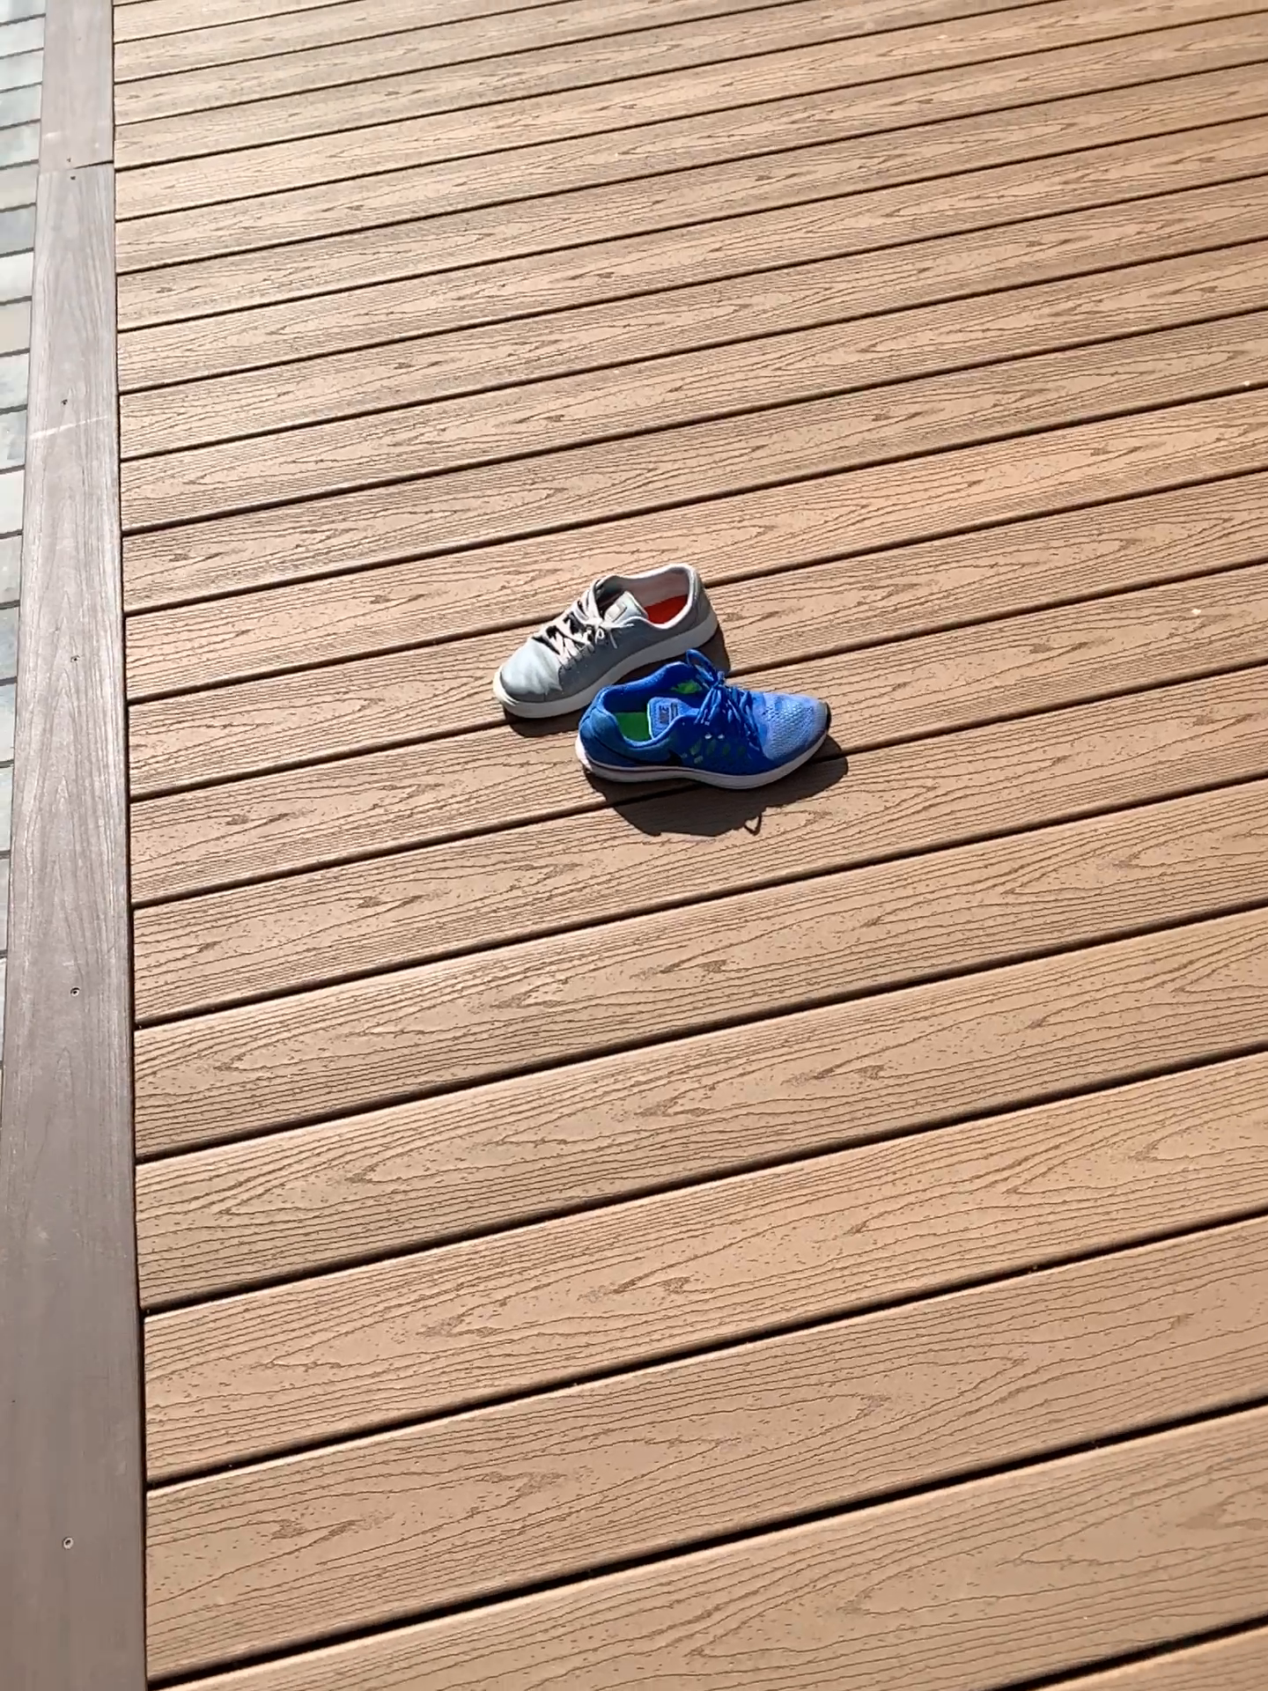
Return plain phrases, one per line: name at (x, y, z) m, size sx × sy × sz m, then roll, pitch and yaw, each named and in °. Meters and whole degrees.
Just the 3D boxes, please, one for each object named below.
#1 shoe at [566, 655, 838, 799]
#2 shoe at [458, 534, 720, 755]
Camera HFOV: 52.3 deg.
shoe at (0.071, -0.127, 1.394) m, size 0.280 × 0.090 × 0.110 m, roll -2°, pitch 58°, yaw 3°
shoe at (-0.048, -0.236, 1.513) m, size 0.280 × 0.110 × 0.110 m, roll -27°, pitch 60°, yaw -12°
